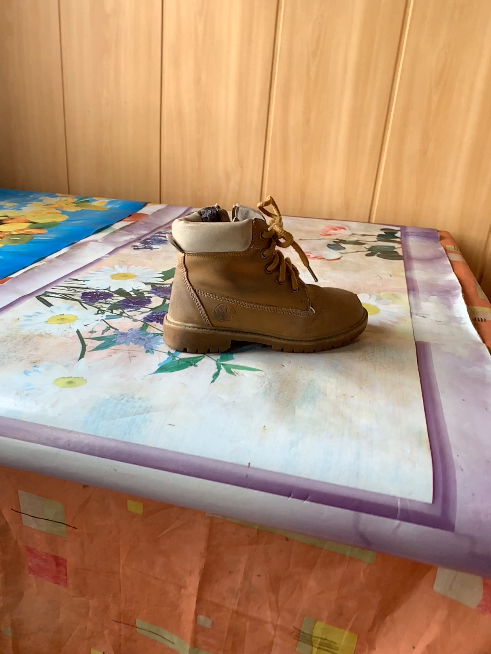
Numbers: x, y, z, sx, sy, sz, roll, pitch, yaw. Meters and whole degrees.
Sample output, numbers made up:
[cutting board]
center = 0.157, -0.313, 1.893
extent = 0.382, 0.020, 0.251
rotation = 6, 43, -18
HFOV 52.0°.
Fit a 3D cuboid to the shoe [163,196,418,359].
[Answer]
[shoe]
center = 0.032, -0.049, 0.490
extent = 0.220, 0.129, 0.091
rotation = 0, 23, -10
